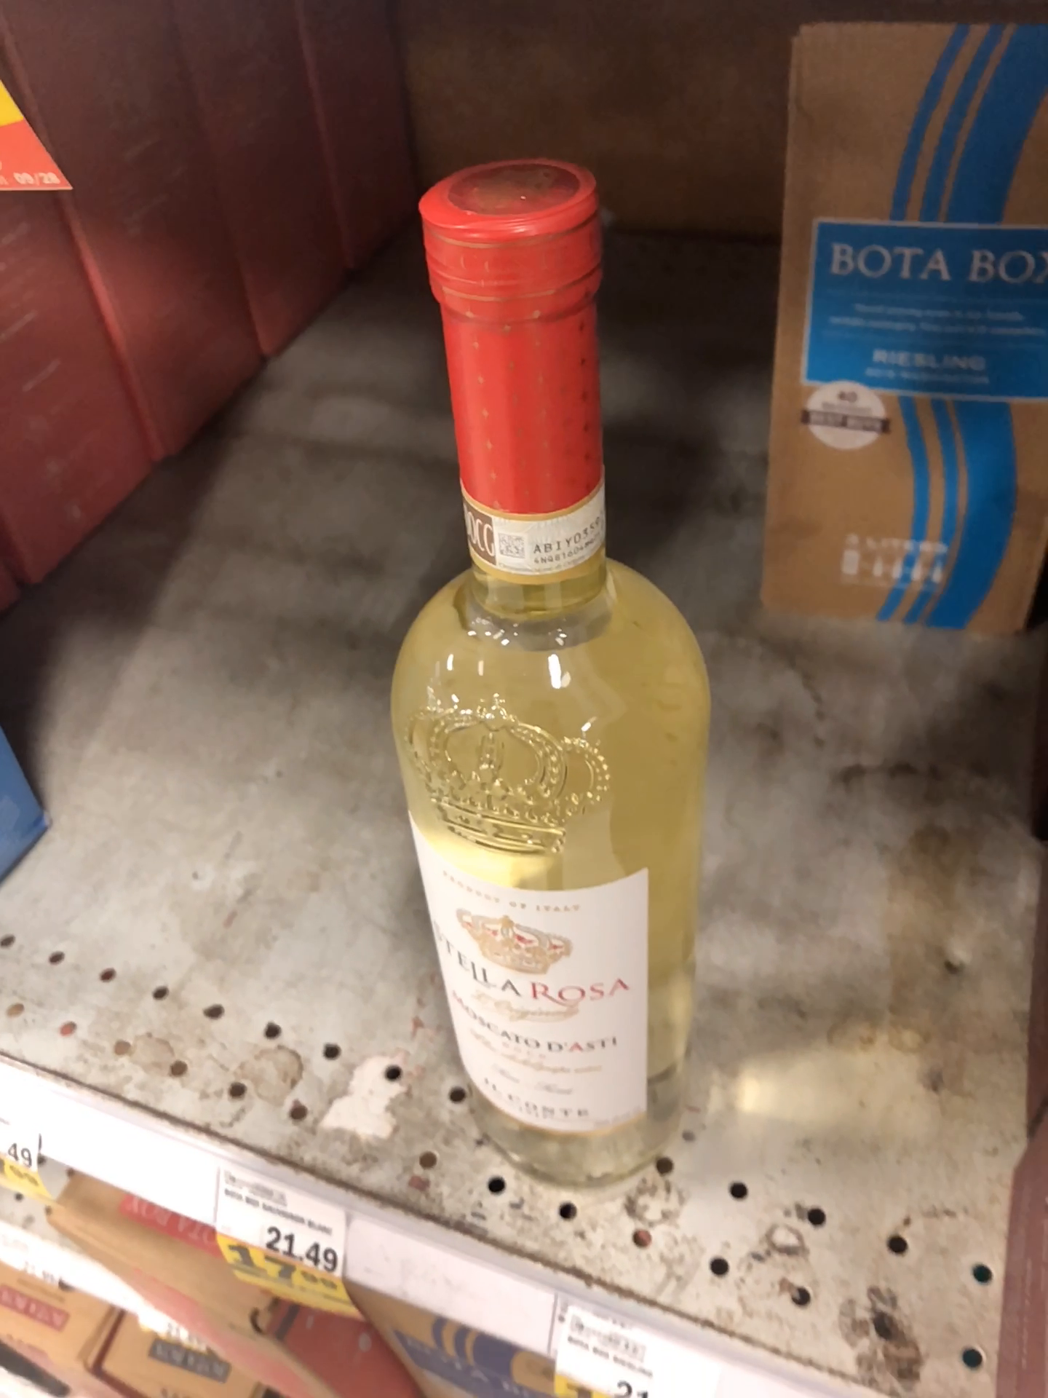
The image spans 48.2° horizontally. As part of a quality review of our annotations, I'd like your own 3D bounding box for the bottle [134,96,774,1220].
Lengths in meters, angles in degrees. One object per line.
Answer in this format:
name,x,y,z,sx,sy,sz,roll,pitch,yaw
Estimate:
bottle,0.009,0.030,0.296,0.080,0.319,0.070,9,49,16
